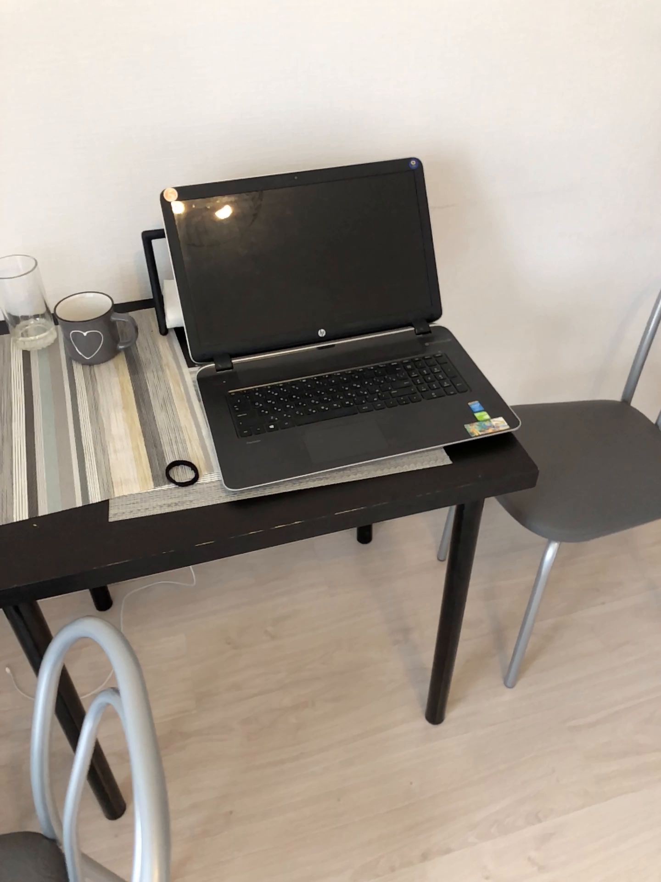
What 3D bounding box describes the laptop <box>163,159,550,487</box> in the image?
[{"bbox_3d":[0.008,-0.198,1.058,0.415,0.227,0.414,-12,42,-12],"label":"laptop"}]
